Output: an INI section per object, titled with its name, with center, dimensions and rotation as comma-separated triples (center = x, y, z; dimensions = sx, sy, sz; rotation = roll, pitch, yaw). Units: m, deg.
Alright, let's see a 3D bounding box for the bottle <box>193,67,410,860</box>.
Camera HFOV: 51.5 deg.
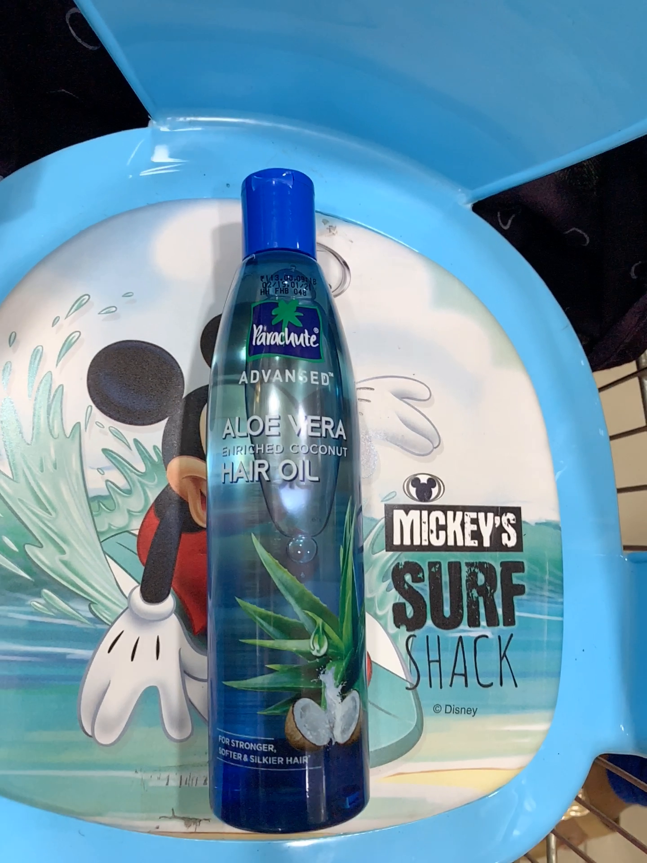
[bottle]
center = -0.008, 0.006, 0.200
dimensions = 0.050, 0.050, 0.200
rotation = 3, 85, -14
